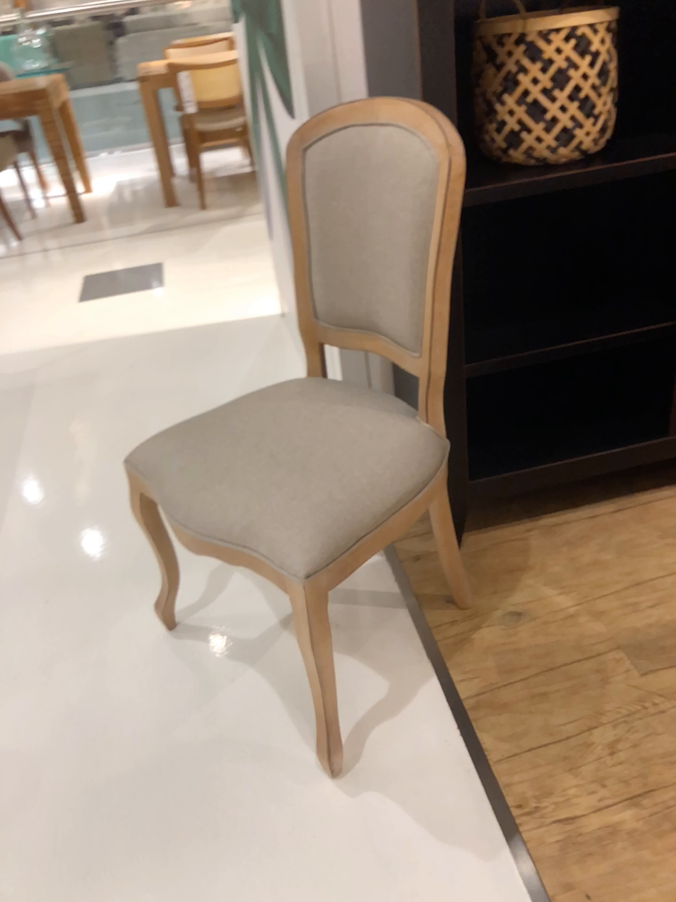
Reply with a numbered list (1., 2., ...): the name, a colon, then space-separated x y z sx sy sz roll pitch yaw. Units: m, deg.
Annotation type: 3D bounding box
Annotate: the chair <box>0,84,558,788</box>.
1. chair: -0.069 -0.079 1.244 0.552 0.873 0.603 -31 39 -32
